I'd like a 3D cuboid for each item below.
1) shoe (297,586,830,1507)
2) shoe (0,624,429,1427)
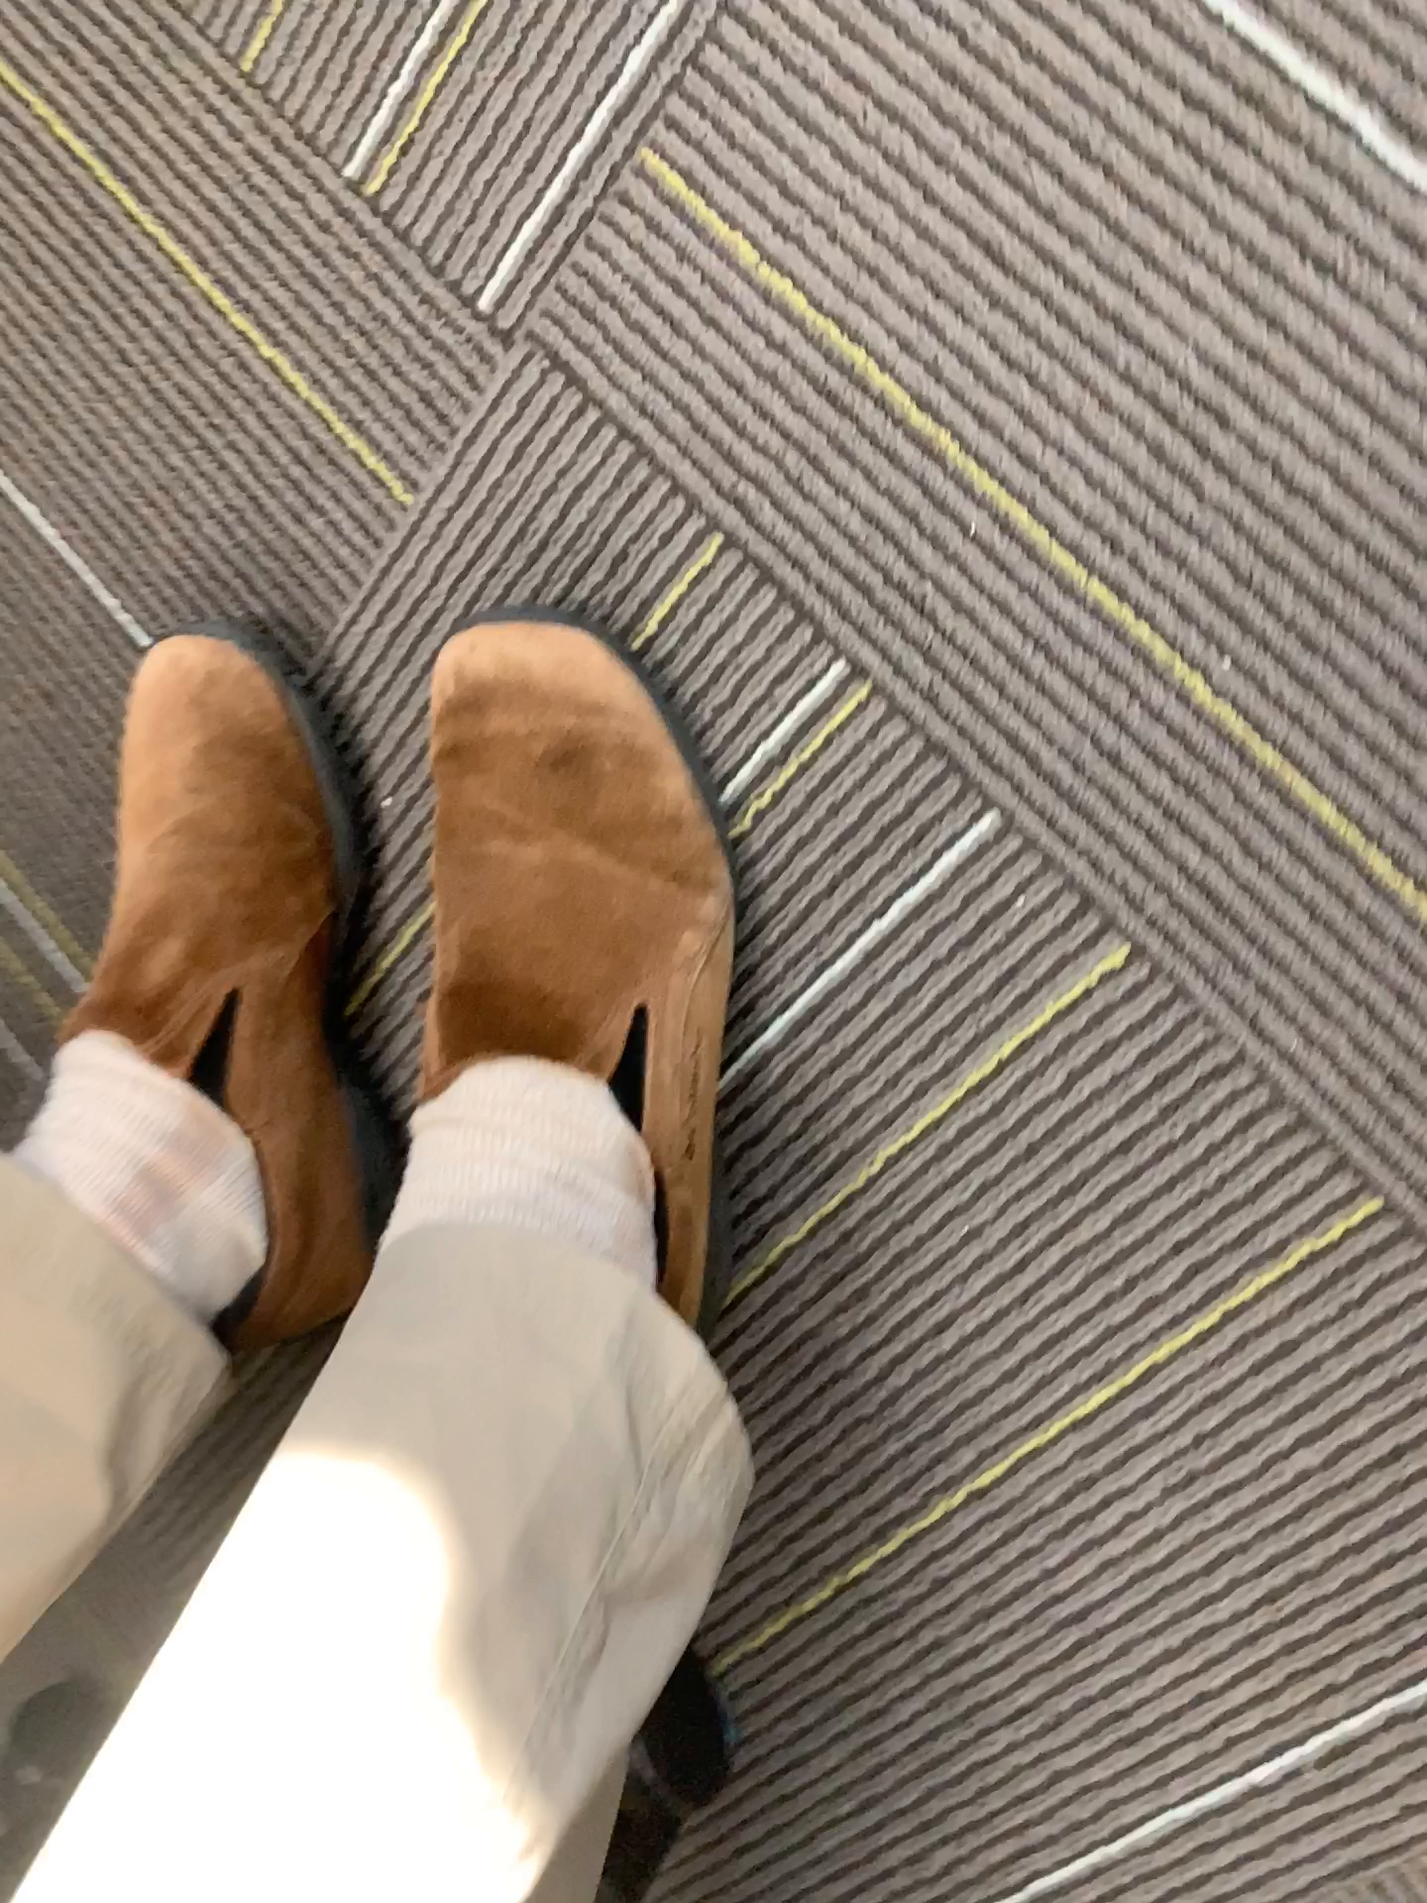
[{"bbox_3d":[-0.049,0.034,0.532,0.121,0.077,0.307,-4,101,27],"label":"shoe"},{"bbox_3d":[-0.202,0.026,0.603,0.120,0.077,0.307,4,105,26],"label":"shoe"}]
